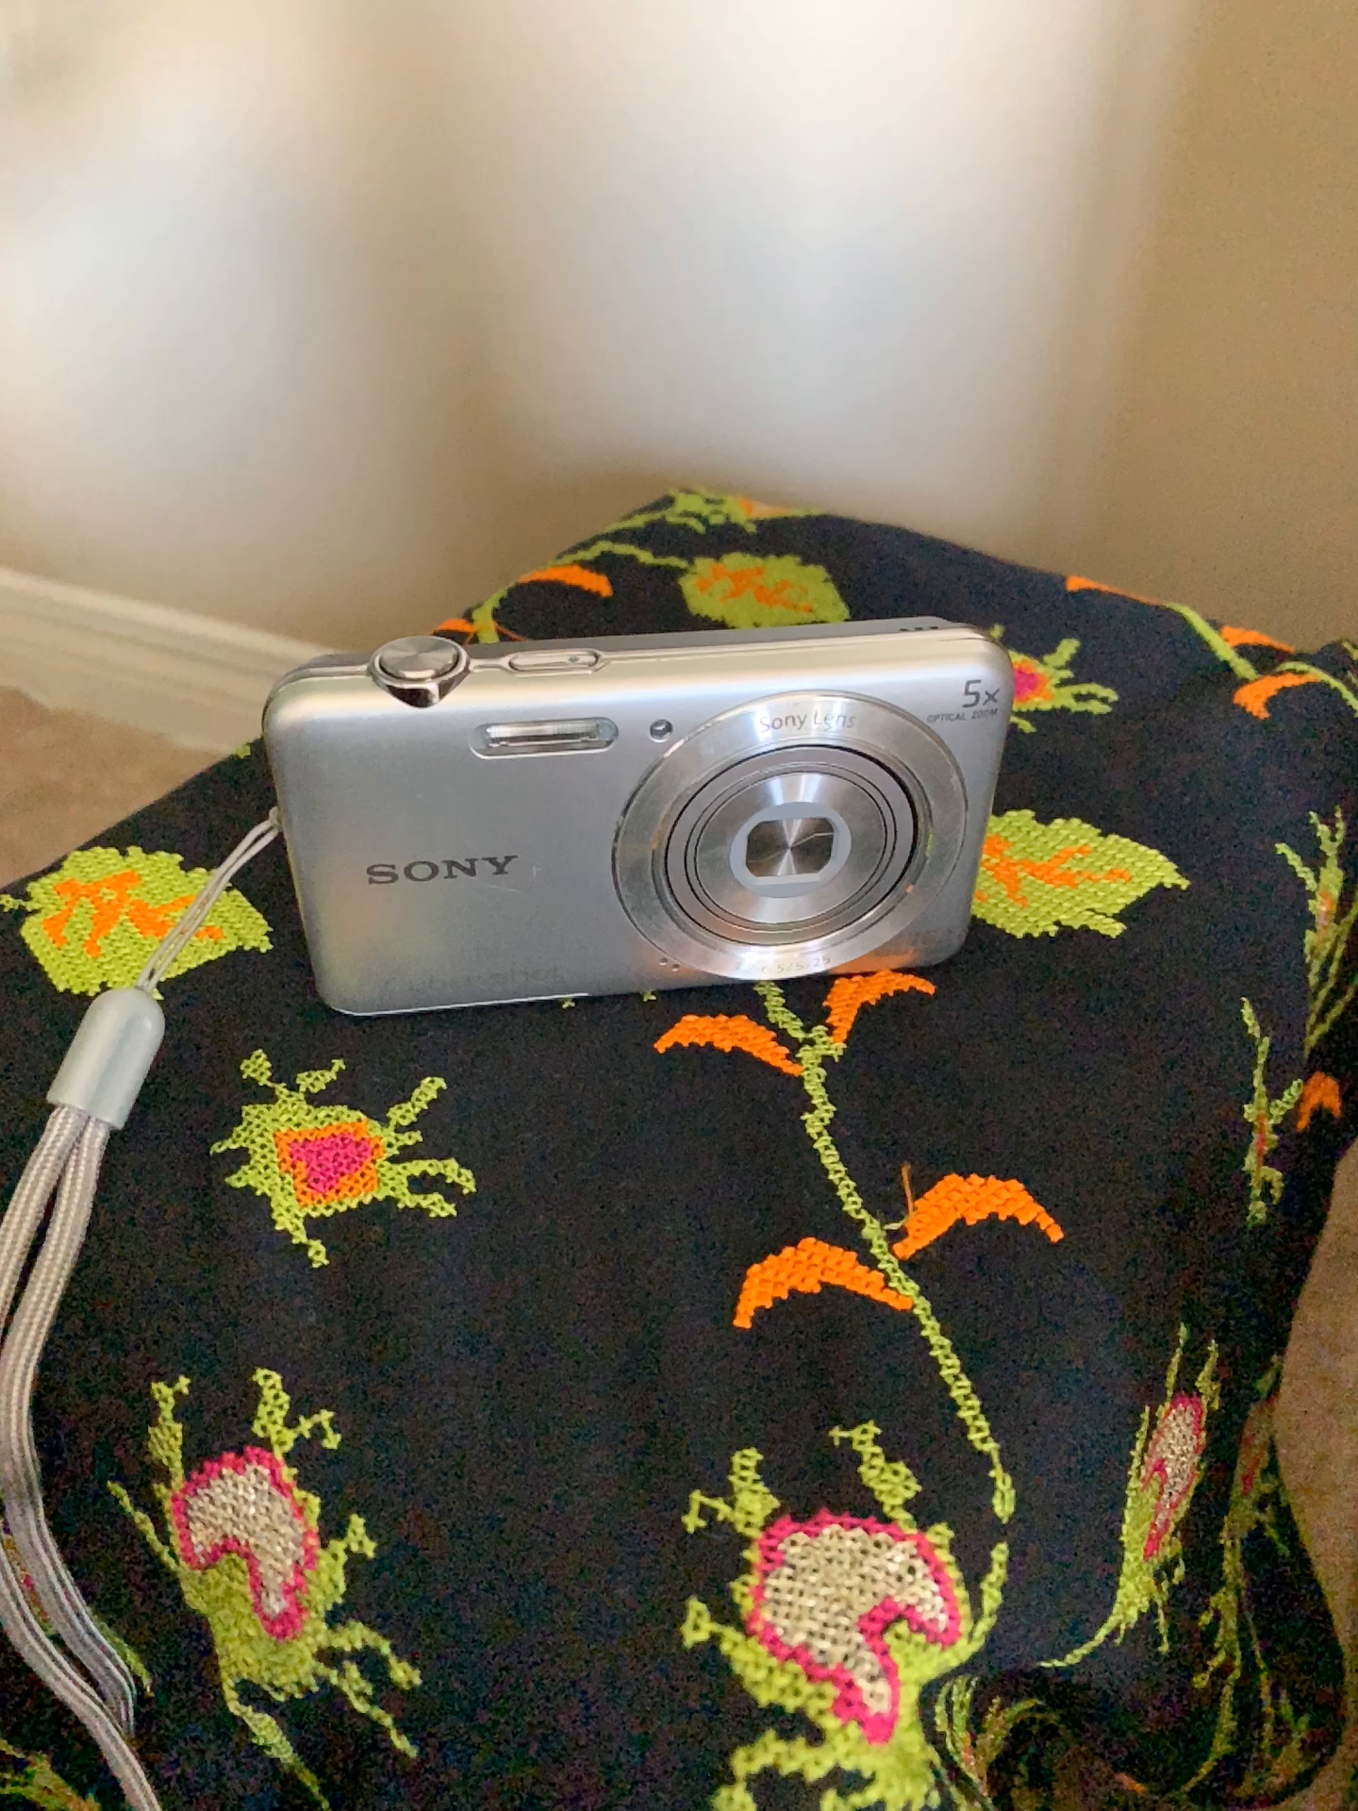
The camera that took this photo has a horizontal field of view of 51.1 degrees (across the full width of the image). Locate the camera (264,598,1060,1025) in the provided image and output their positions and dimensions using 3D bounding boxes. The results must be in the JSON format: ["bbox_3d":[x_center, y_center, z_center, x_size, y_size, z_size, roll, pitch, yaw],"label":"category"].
[{"bbox_3d":[-0.002,-0.011,0.173,0.086,0.042,0.020,-4,39,-7],"label":"camera"}]
